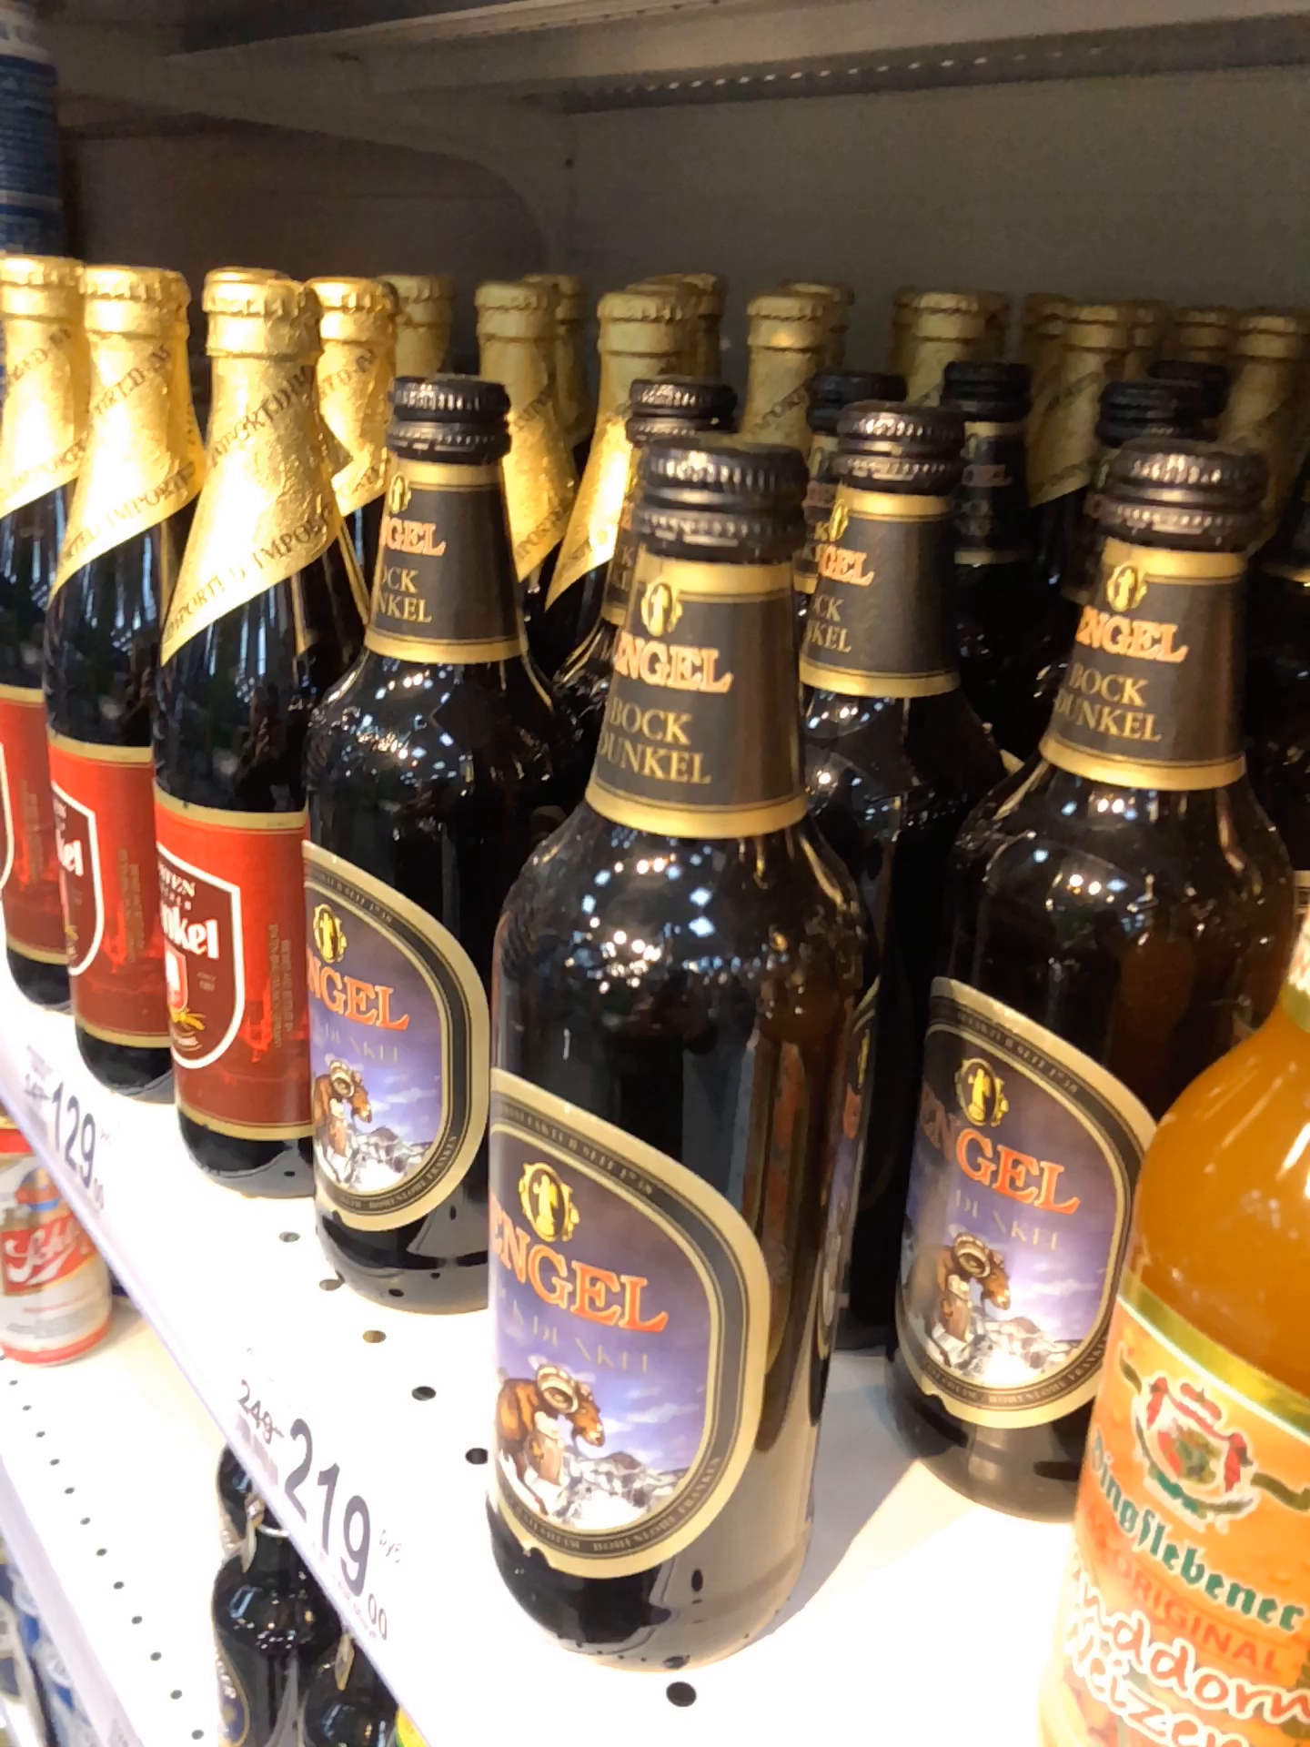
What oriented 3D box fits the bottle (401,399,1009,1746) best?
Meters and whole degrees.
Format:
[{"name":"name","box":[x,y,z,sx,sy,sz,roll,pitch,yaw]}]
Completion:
[{"name":"bottle","box":[0.001,0.038,0.262,0.061,0.229,0.070,-17,30,-40]}]

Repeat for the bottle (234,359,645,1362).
[{"name":"bottle","box":[-0.054,-0.003,0.363,0.061,0.233,0.070,-17,29,-40]}]

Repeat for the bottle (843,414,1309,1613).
[{"name":"bottle","box":[0.100,0.029,0.305,0.070,0.233,0.069,3,22,-1]}]
